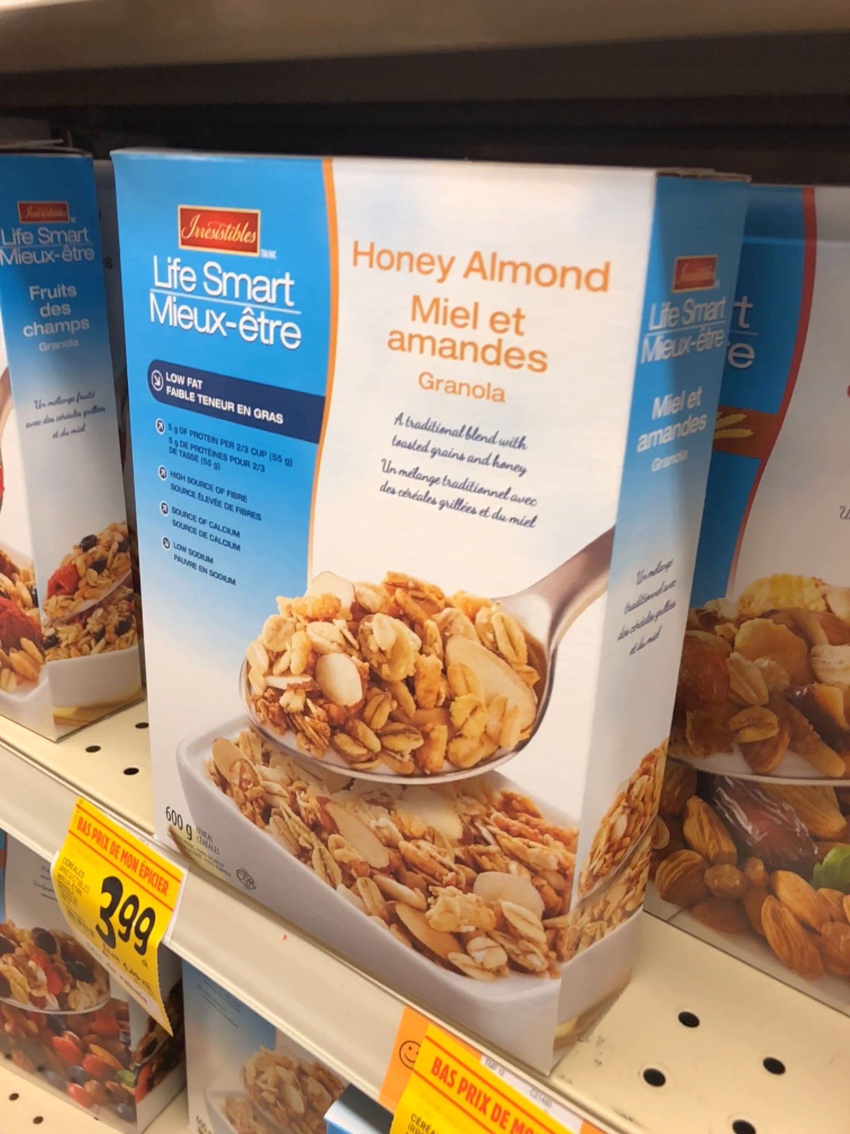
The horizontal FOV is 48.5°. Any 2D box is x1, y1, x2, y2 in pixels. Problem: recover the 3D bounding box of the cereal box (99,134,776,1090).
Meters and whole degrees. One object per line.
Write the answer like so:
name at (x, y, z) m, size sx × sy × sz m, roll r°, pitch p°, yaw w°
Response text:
cereal box at (-0.010, 0.003, 0.284) m, size 0.170 × 0.238 × 0.060 m, roll 18°, pitch 26°, yaw 33°
